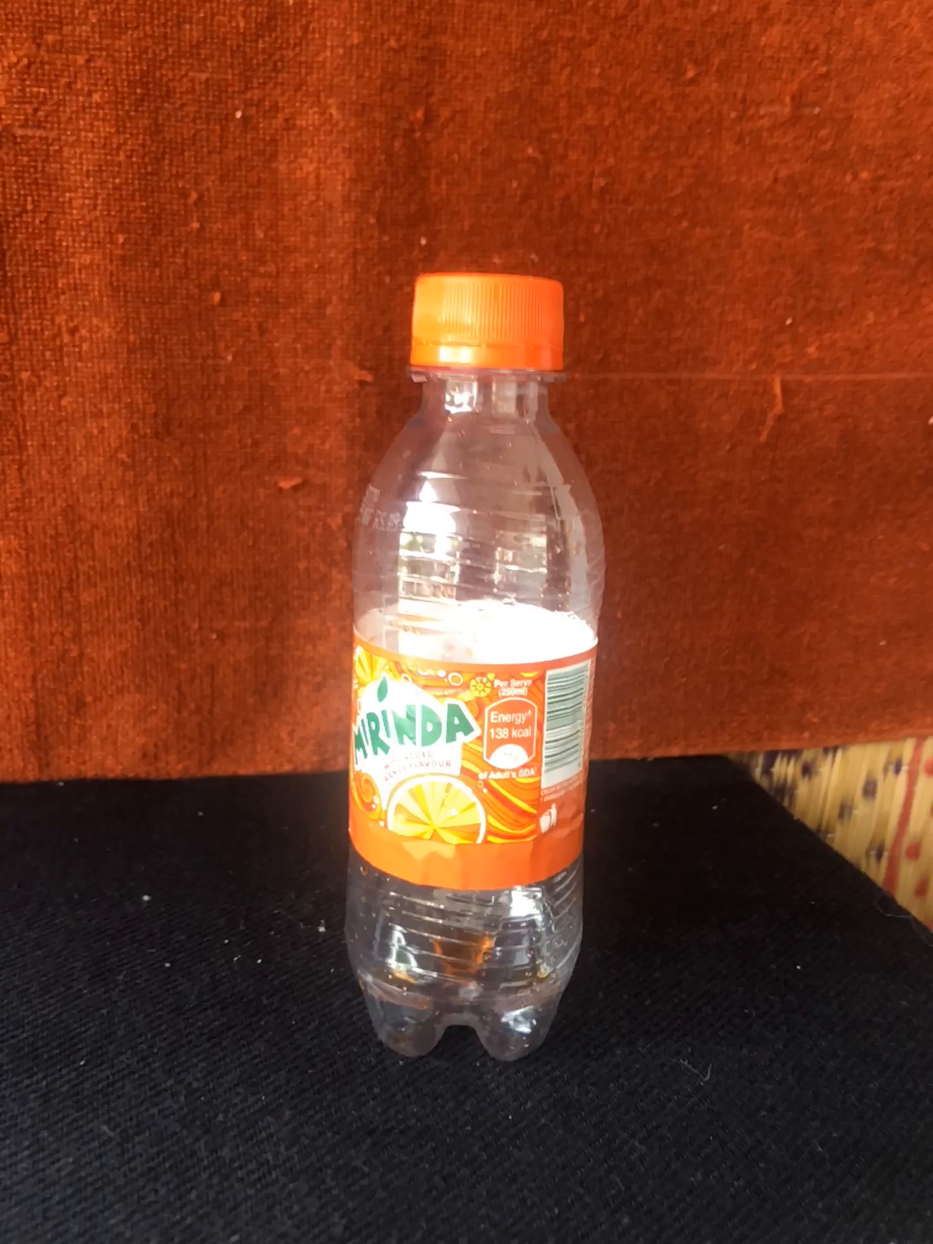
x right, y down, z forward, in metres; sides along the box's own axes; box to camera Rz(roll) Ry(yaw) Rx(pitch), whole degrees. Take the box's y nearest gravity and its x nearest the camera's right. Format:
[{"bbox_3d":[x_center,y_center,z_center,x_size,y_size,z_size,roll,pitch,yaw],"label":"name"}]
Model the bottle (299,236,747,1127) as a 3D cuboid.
[{"bbox_3d":[0.007,0.009,0.214,0.060,0.159,0.050,17,21,37],"label":"bottle"}]
